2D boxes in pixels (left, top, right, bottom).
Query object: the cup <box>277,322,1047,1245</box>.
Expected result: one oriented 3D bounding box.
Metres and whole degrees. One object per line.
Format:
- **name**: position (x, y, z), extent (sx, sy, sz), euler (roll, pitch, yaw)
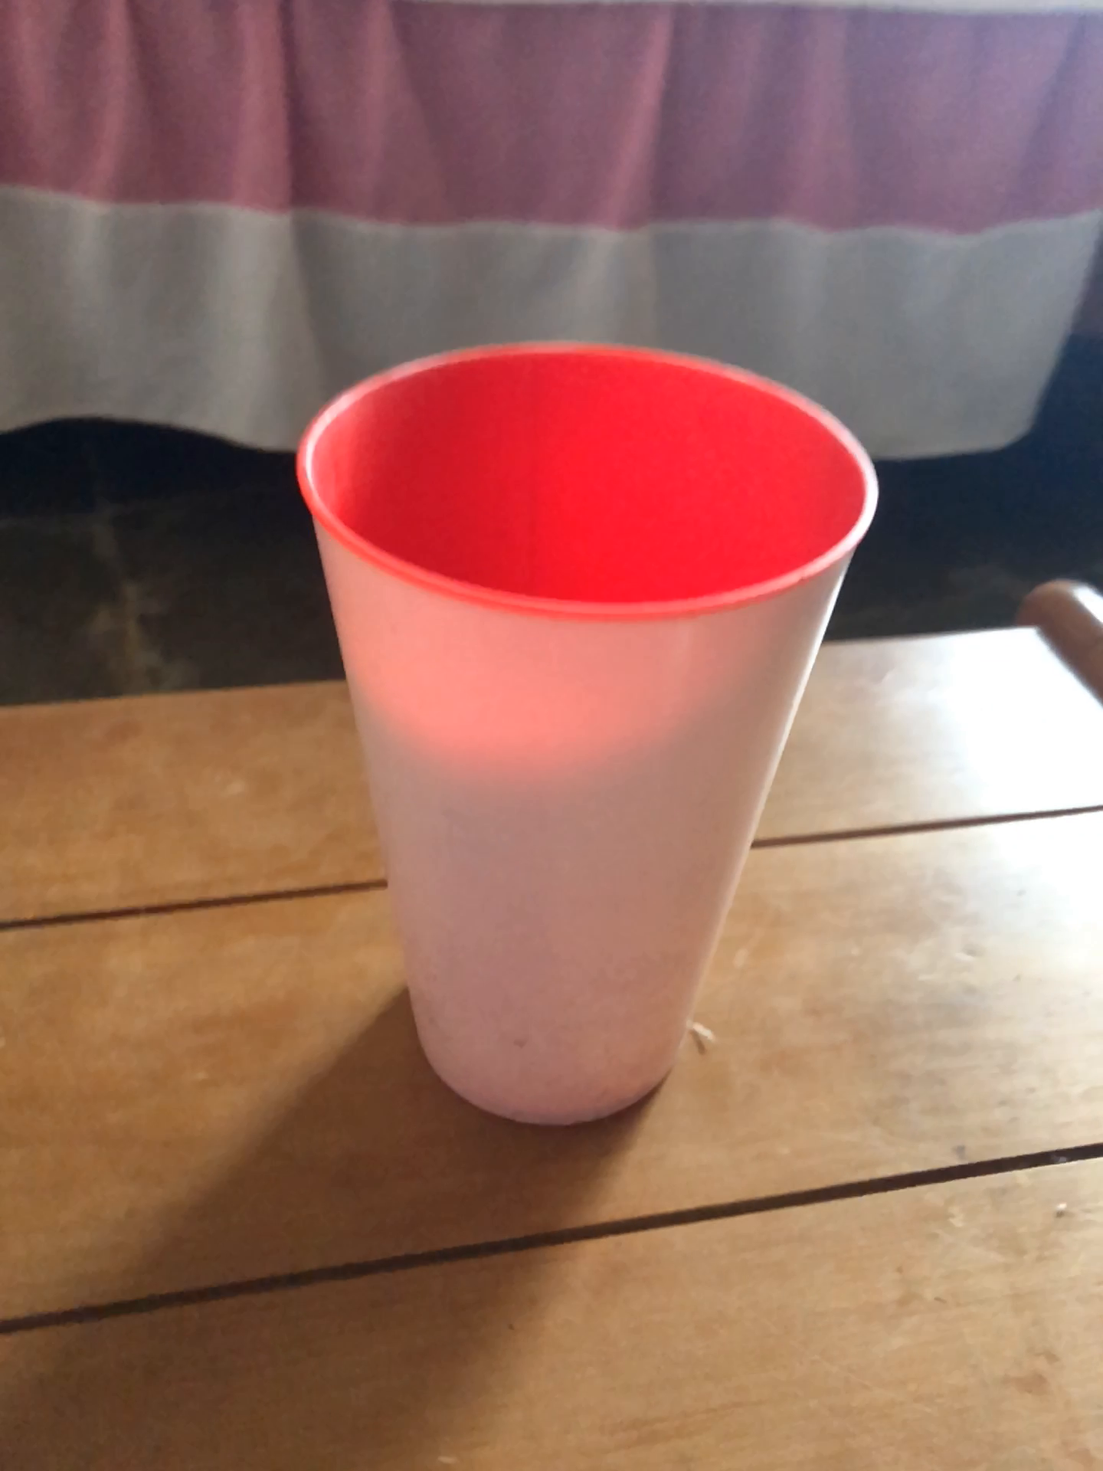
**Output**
- **cup**: position (0.005, 0.004, 0.221), extent (0.090, 0.119, 0.101), euler (-6, 39, -12)
